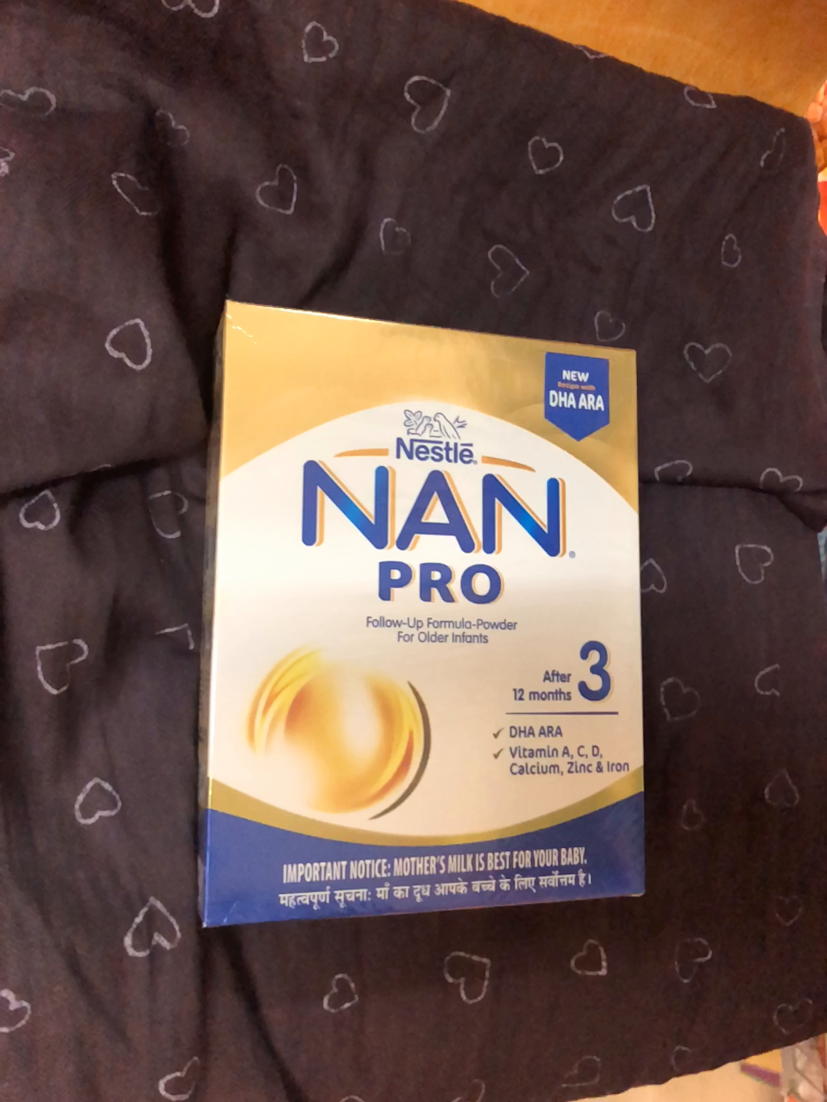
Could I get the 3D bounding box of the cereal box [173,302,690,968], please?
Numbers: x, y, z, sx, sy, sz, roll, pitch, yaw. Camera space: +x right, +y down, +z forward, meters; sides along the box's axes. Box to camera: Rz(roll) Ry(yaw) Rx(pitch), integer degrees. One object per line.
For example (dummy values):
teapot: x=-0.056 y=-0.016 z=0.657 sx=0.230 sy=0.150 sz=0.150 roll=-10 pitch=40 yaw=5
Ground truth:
cereal box: x=0.005 y=0.027 z=0.320 sx=0.160 sy=0.070 sz=0.190 roll=3 pitch=83 yaw=-17
